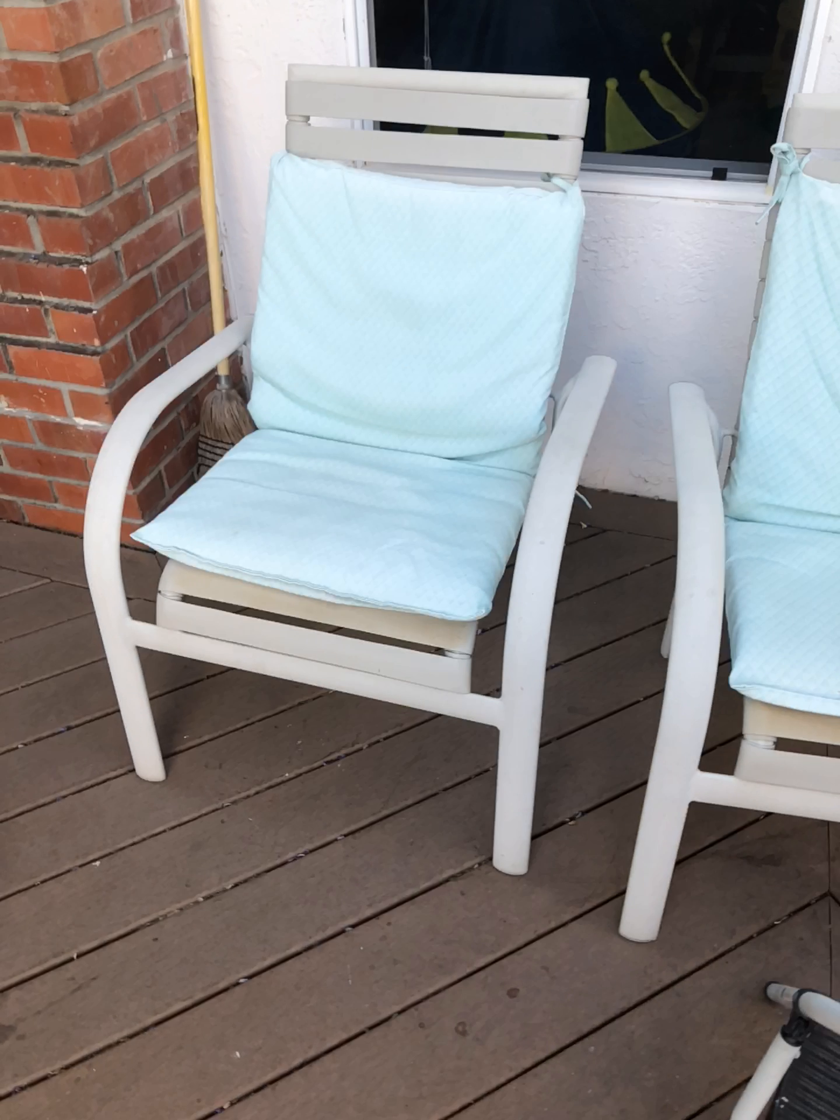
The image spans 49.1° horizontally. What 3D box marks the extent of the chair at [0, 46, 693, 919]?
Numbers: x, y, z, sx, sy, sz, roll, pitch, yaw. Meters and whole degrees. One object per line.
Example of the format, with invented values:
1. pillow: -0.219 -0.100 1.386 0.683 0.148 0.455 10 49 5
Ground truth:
1. chair: -0.033 -0.187 1.550 0.741 0.994 0.975 10 42 13
